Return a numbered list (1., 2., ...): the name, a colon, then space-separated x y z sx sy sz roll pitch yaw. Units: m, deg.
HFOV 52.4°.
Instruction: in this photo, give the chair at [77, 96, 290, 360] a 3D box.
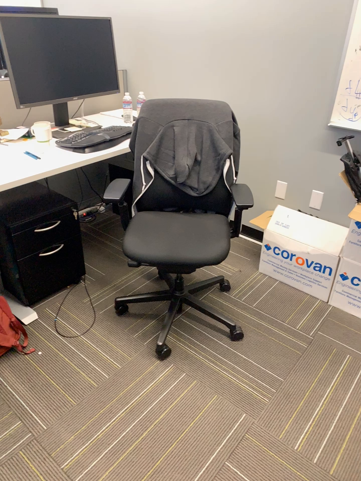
1. chair: -0.009 -0.093 1.767 0.680 0.994 0.805 1 30 -2
